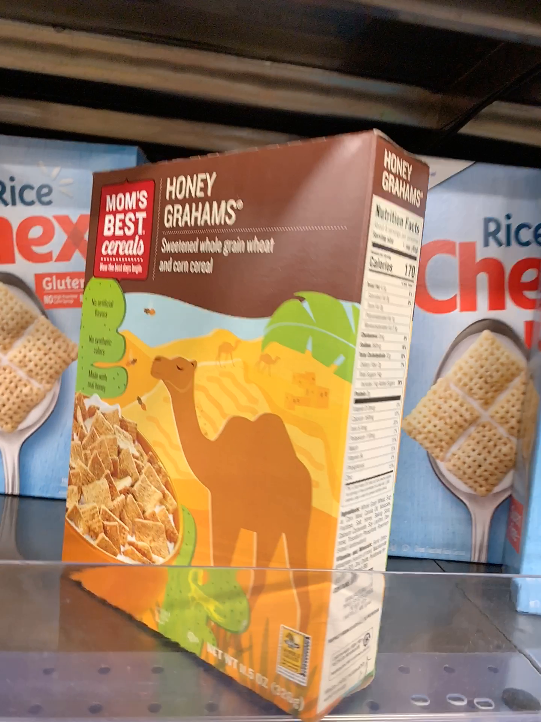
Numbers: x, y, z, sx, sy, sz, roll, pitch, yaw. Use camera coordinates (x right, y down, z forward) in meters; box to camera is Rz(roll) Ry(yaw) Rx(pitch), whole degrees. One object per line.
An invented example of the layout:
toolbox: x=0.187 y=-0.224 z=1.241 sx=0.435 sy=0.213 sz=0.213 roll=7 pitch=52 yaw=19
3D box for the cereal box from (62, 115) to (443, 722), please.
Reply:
cereal box: x=-0.026 y=0.020 z=0.310 sx=0.200 sy=0.260 sz=0.050 roll=8 pitch=3 yaw=37
